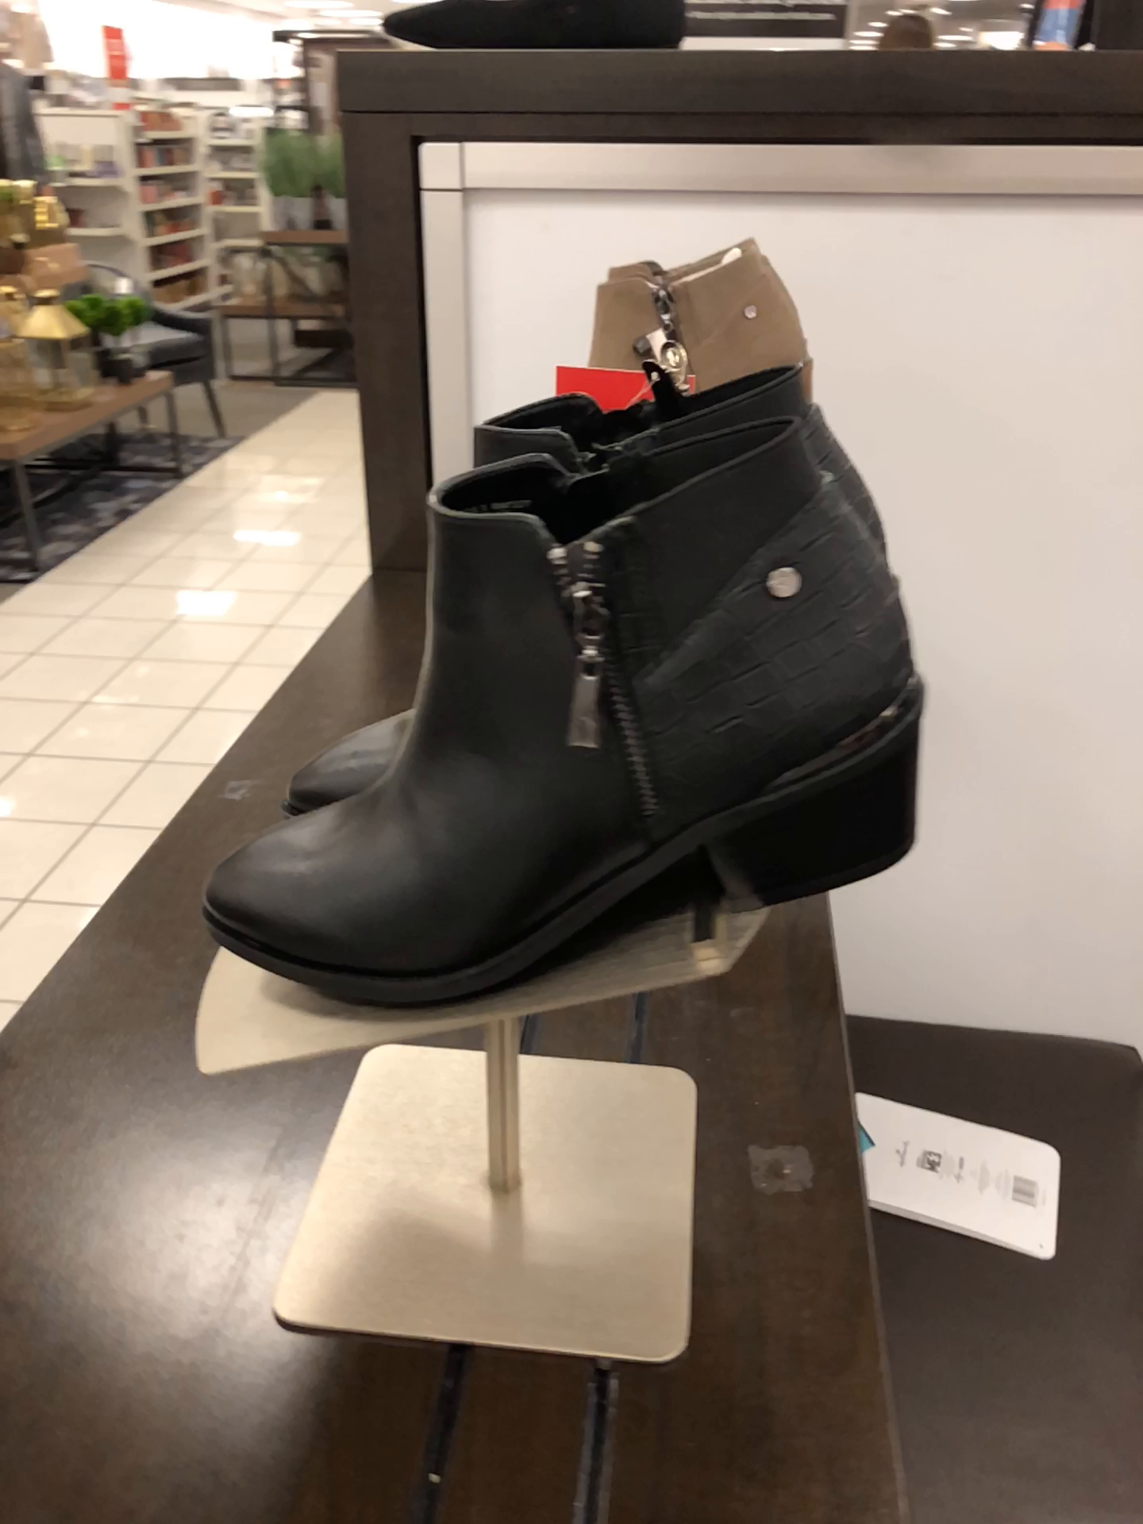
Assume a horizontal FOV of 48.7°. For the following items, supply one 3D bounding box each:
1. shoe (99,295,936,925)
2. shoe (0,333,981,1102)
[{"bbox_3d":[-0.012,-0.049,0.448,0.243,0.132,0.105,-15,21,20],"label":"shoe"},{"bbox_3d":[-0.027,-0.007,0.362,0.243,0.132,0.105,-15,21,20],"label":"shoe"}]
